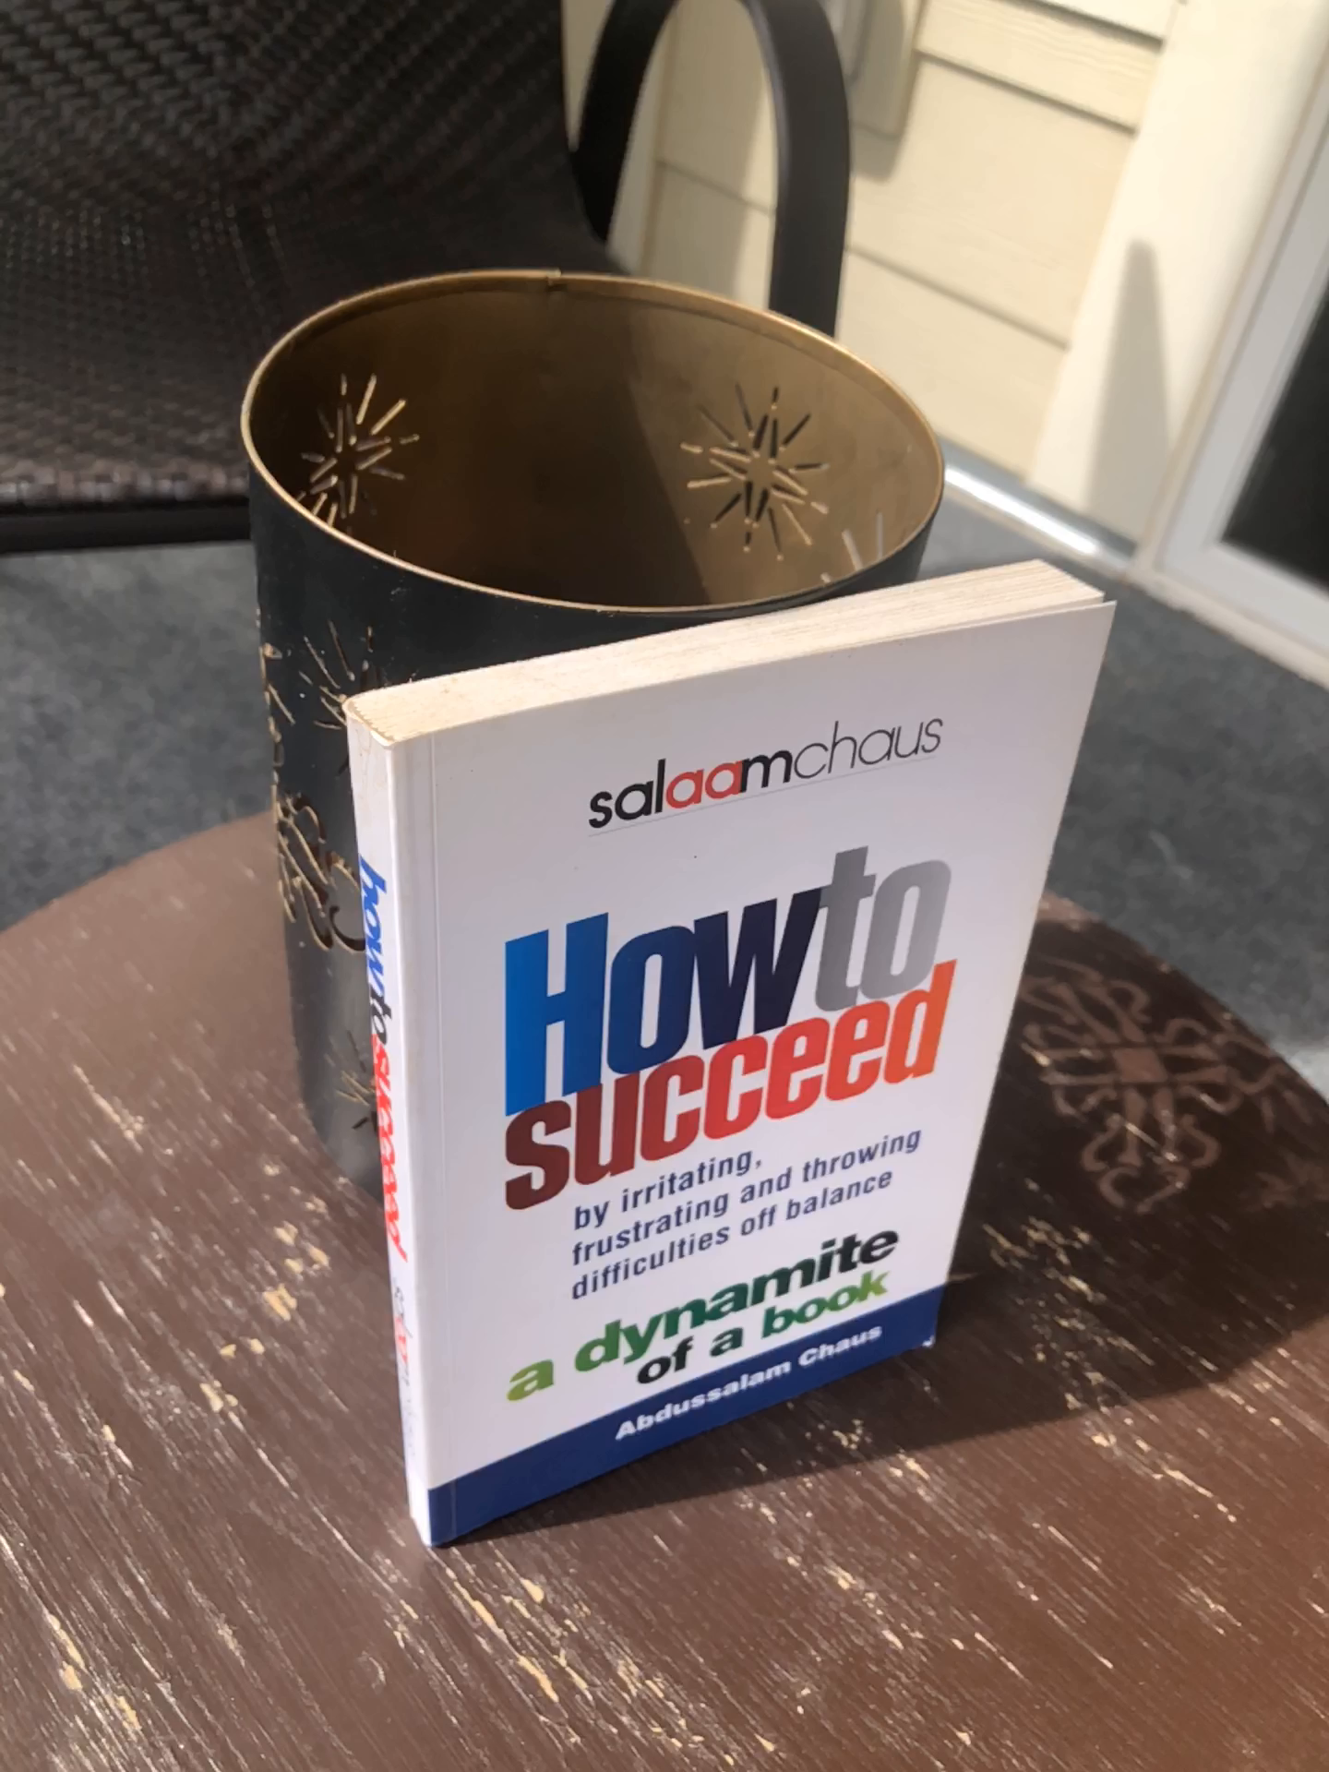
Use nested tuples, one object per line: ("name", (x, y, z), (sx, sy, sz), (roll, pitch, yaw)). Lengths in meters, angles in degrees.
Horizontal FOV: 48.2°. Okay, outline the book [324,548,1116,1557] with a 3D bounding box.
("book", (0.008, 0.042, 0.301), (0.139, 0.207, 0.018), (-14, 39, -25))
